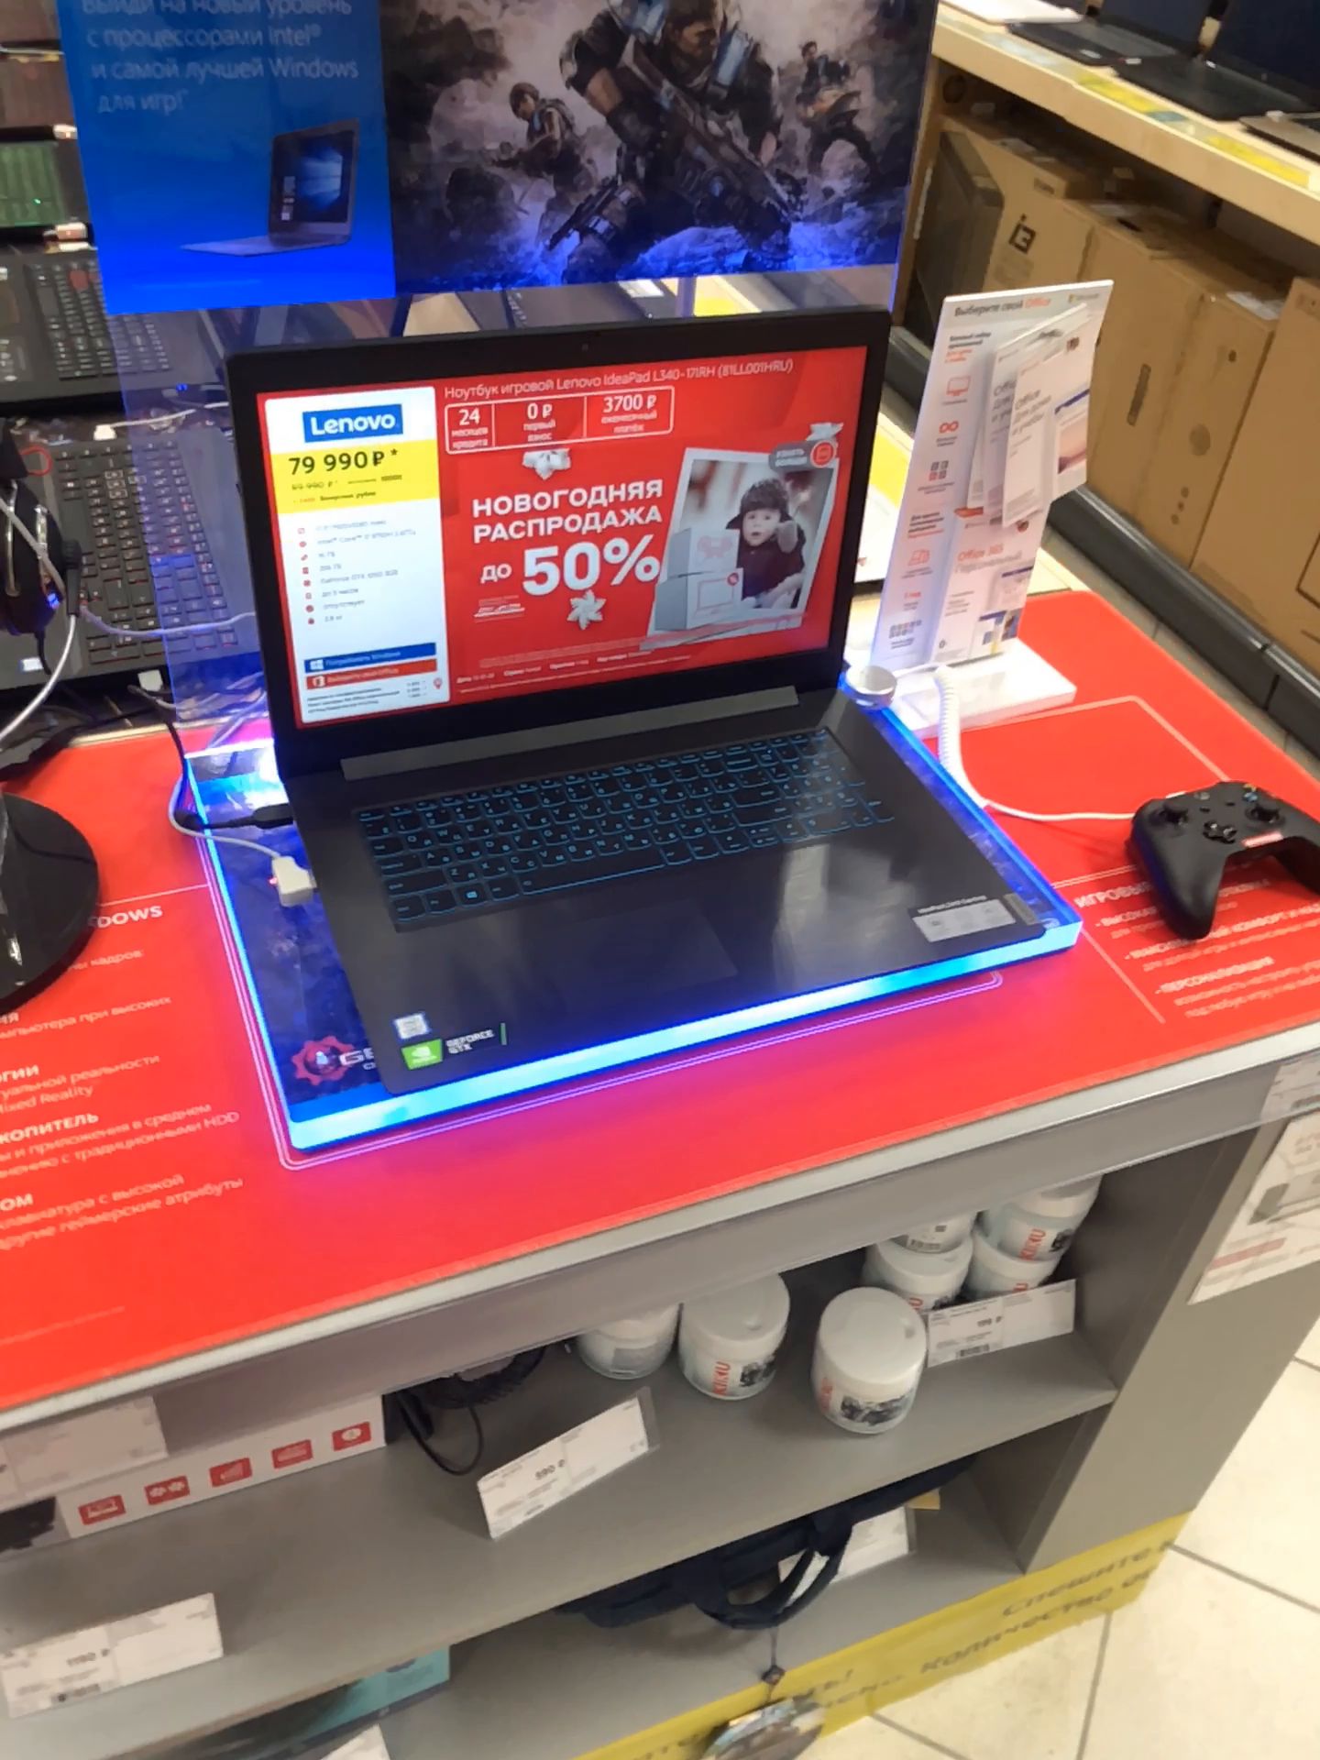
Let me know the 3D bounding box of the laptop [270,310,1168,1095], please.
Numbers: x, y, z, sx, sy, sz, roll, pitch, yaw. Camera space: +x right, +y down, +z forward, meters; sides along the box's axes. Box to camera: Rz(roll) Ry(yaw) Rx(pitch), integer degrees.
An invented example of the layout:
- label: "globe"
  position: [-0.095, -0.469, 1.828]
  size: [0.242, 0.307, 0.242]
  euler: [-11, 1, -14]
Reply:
- label: "laptop"
  position: [0.009, -0.126, 0.842]
  size: [0.404, 0.255, 0.296]
  euler: [-11, 44, -19]
